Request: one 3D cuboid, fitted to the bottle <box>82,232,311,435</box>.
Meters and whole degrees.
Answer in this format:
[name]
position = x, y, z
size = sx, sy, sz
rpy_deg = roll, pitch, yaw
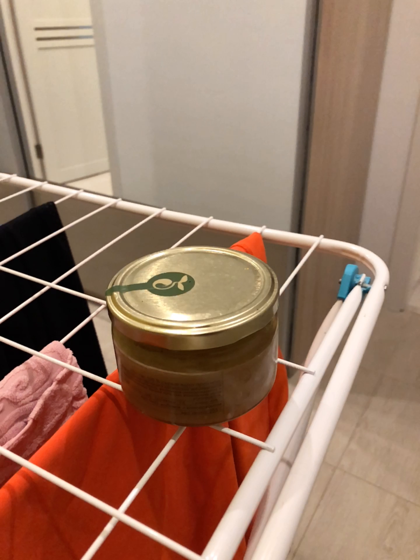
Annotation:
[bottle]
position = -0.004, 0.021, 0.237
size = 0.090, 0.060, 0.091
rpy_deg = -1, 29, 1
